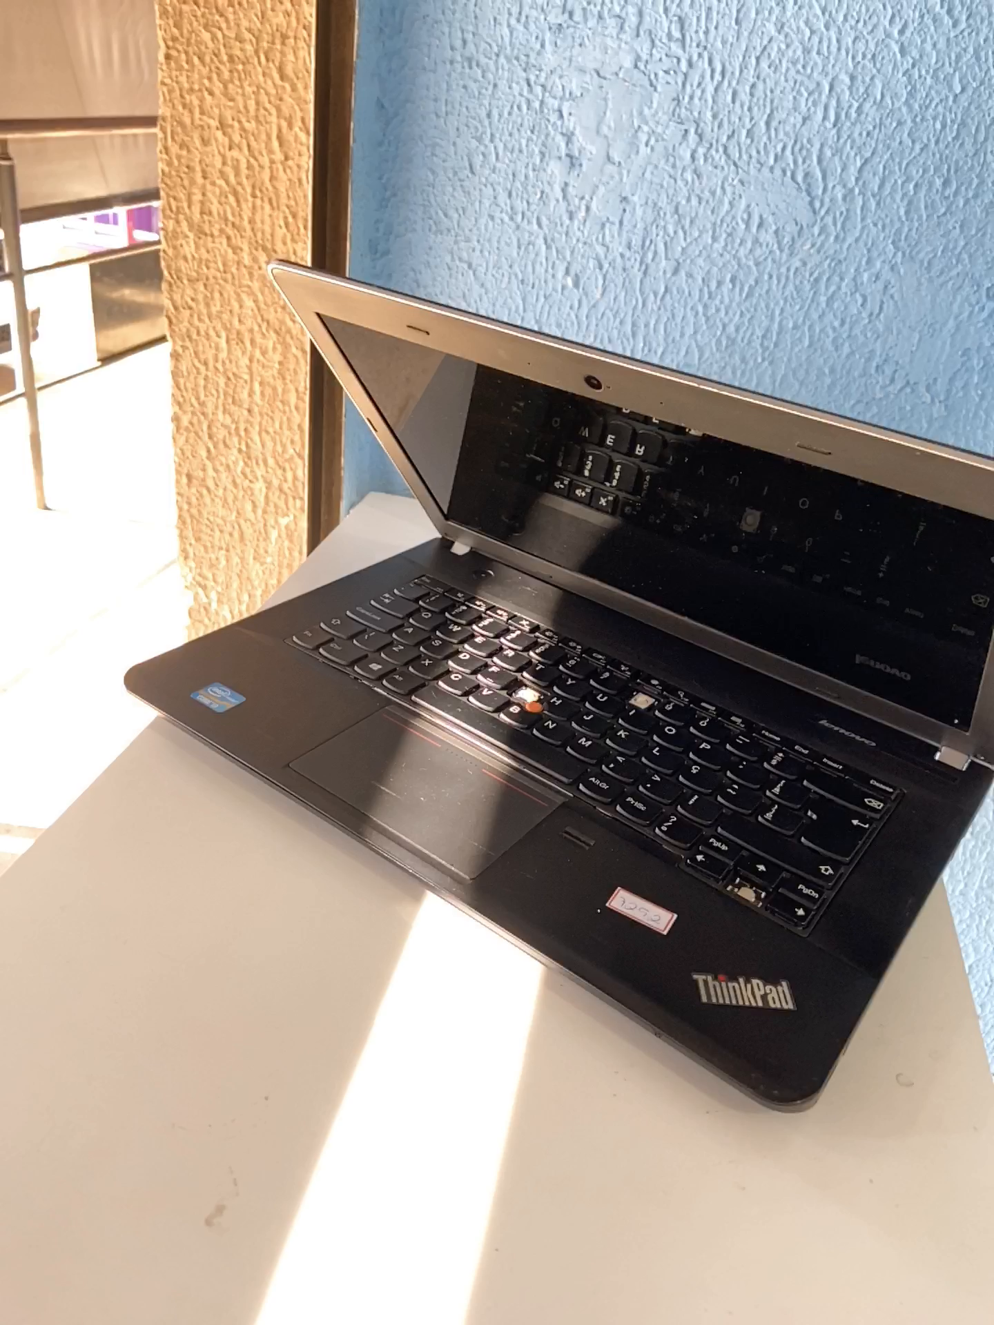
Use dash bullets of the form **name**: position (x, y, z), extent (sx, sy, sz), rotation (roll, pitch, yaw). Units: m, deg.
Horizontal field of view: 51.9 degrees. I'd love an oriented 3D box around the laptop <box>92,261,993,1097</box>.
- **laptop**: position (0.039, -0.043, 0.428), extent (0.331, 0.165, 0.231), rotation (25, 34, 29)
